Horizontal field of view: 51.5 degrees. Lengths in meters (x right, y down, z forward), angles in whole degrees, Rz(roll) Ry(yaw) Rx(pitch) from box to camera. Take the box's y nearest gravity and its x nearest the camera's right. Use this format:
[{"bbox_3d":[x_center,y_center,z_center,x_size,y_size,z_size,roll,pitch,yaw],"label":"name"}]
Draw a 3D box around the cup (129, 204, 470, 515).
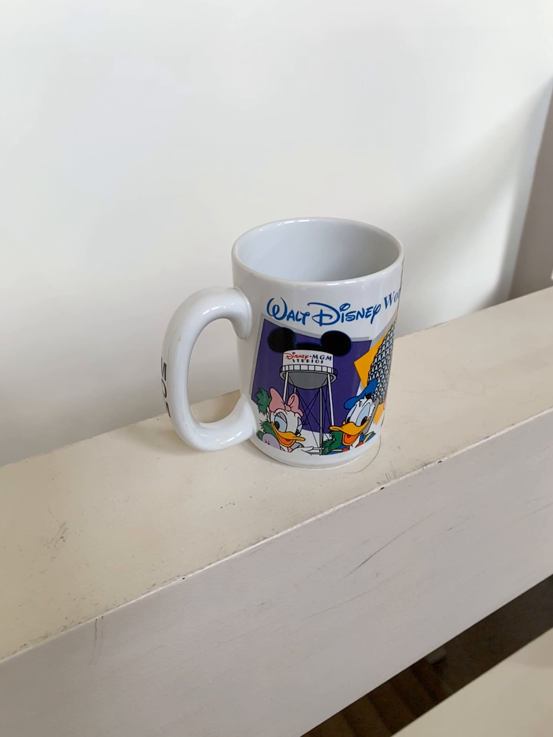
[{"bbox_3d":[0.009,-0.011,0.299,0.140,0.109,0.080,-14,35,-19],"label":"cup"}]
